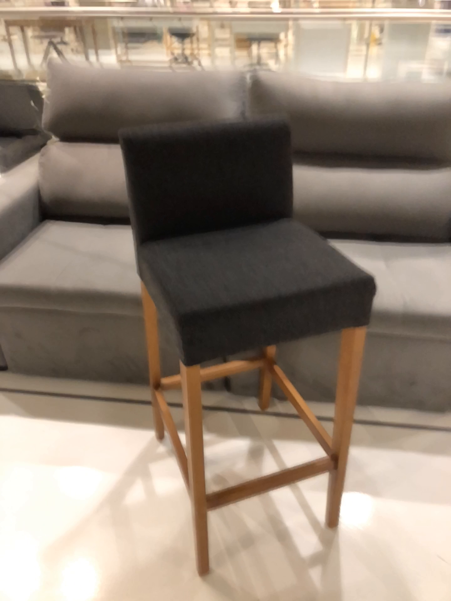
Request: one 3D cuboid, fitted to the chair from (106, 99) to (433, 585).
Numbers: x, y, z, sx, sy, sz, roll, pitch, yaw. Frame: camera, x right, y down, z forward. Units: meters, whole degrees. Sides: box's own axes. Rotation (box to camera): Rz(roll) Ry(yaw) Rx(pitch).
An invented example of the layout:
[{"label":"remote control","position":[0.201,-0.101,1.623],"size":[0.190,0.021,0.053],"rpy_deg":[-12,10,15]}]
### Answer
[{"label":"chair","position":[0.034,0.074,1.235],"size":[0.451,0.973,0.583],"rpy_deg":[-11,32,-18]}]
